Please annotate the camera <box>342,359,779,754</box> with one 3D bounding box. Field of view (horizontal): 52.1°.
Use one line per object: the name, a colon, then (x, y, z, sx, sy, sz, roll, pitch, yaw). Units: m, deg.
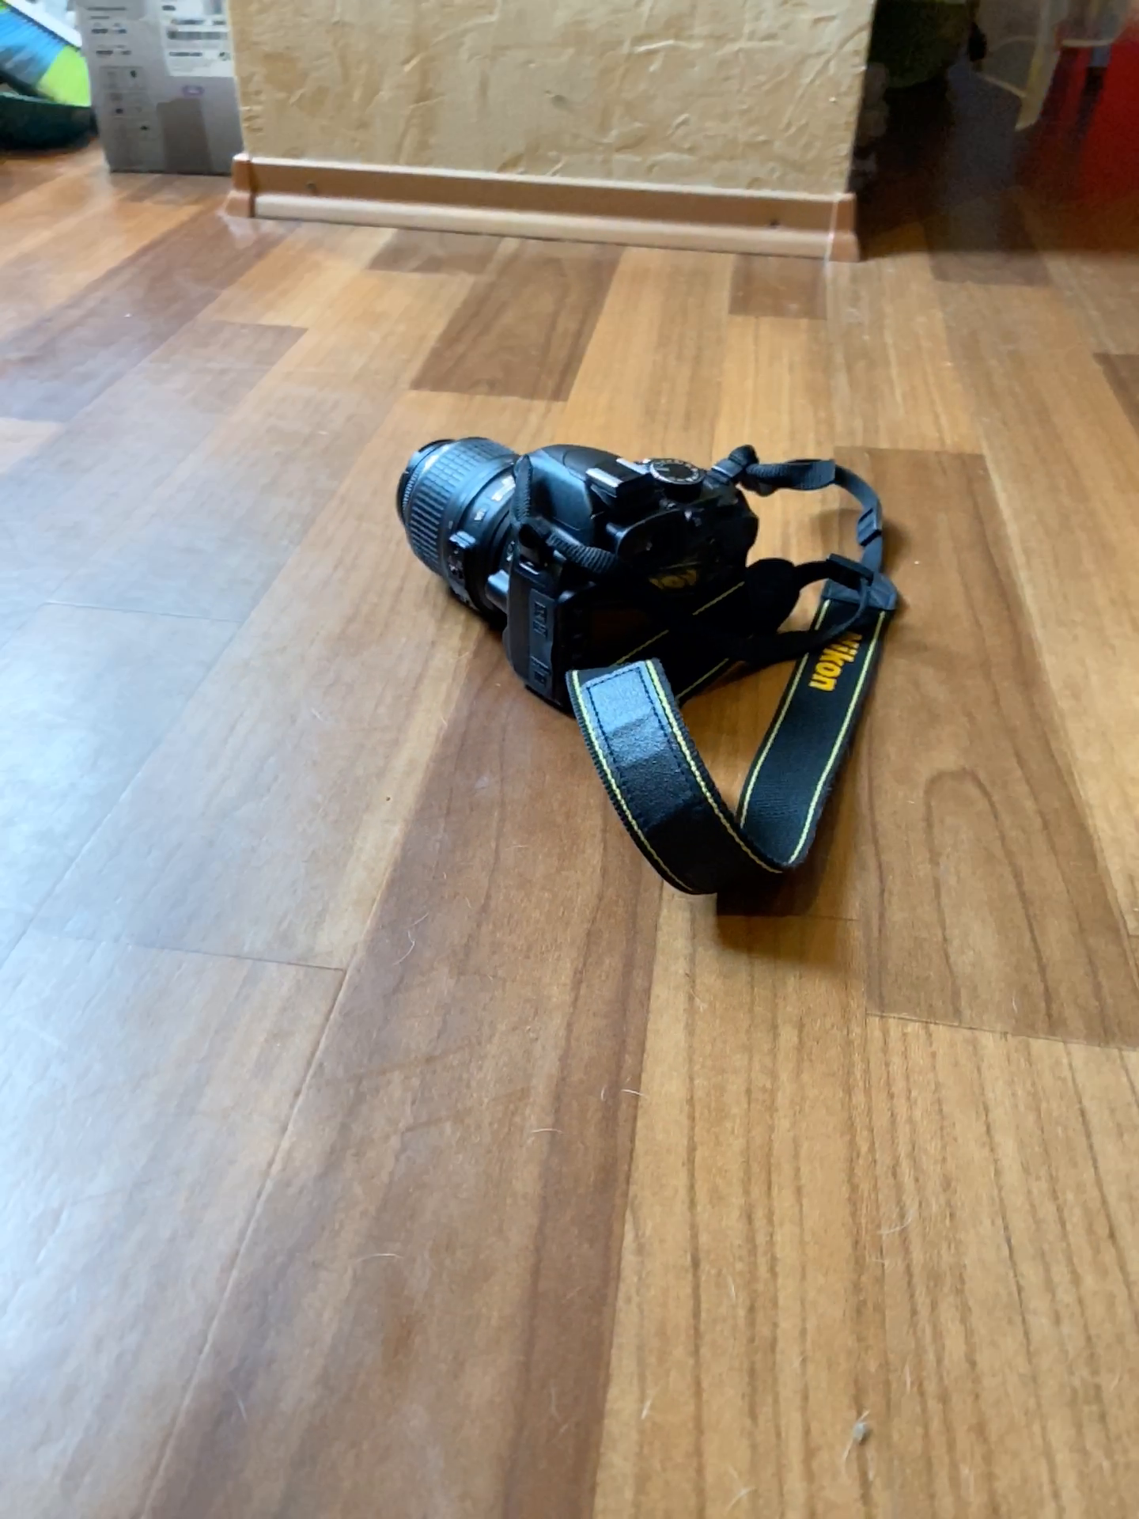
camera: (-0.007, -0.102, 0.544, 0.121, 0.100, 0.153, -30, 48, -33)
